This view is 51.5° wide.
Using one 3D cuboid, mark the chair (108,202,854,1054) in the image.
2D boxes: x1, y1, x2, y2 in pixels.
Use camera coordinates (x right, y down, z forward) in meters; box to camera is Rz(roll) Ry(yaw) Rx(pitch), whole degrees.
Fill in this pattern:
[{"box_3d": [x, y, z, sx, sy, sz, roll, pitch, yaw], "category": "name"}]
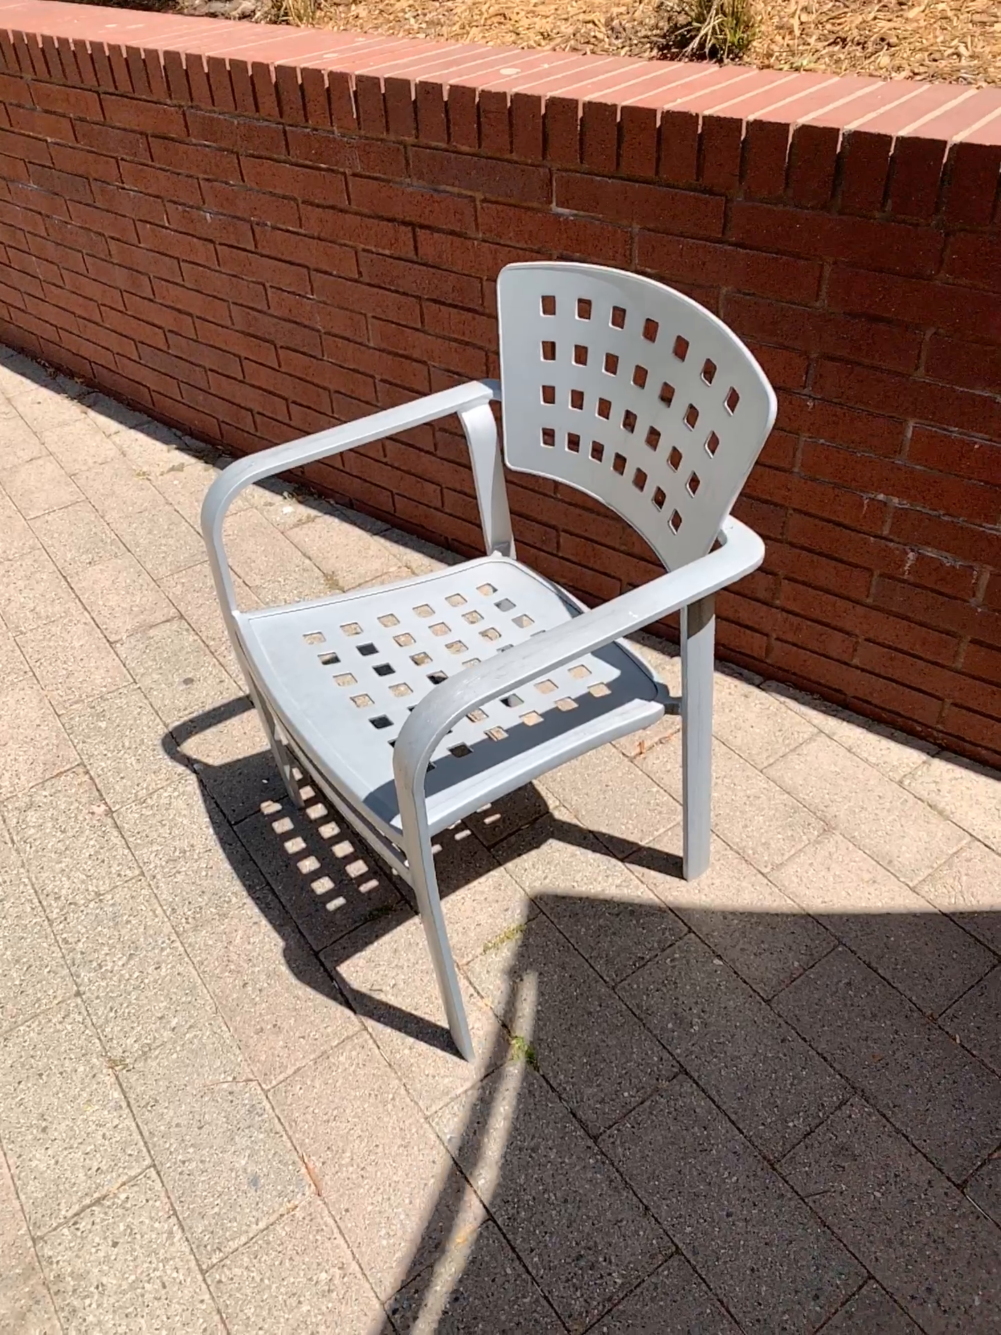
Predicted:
[{"box_3d": [-0.032, -0.073, 1.235, 0.498, 0.698, 0.564, -26, 44, -24], "category": "chair"}]
